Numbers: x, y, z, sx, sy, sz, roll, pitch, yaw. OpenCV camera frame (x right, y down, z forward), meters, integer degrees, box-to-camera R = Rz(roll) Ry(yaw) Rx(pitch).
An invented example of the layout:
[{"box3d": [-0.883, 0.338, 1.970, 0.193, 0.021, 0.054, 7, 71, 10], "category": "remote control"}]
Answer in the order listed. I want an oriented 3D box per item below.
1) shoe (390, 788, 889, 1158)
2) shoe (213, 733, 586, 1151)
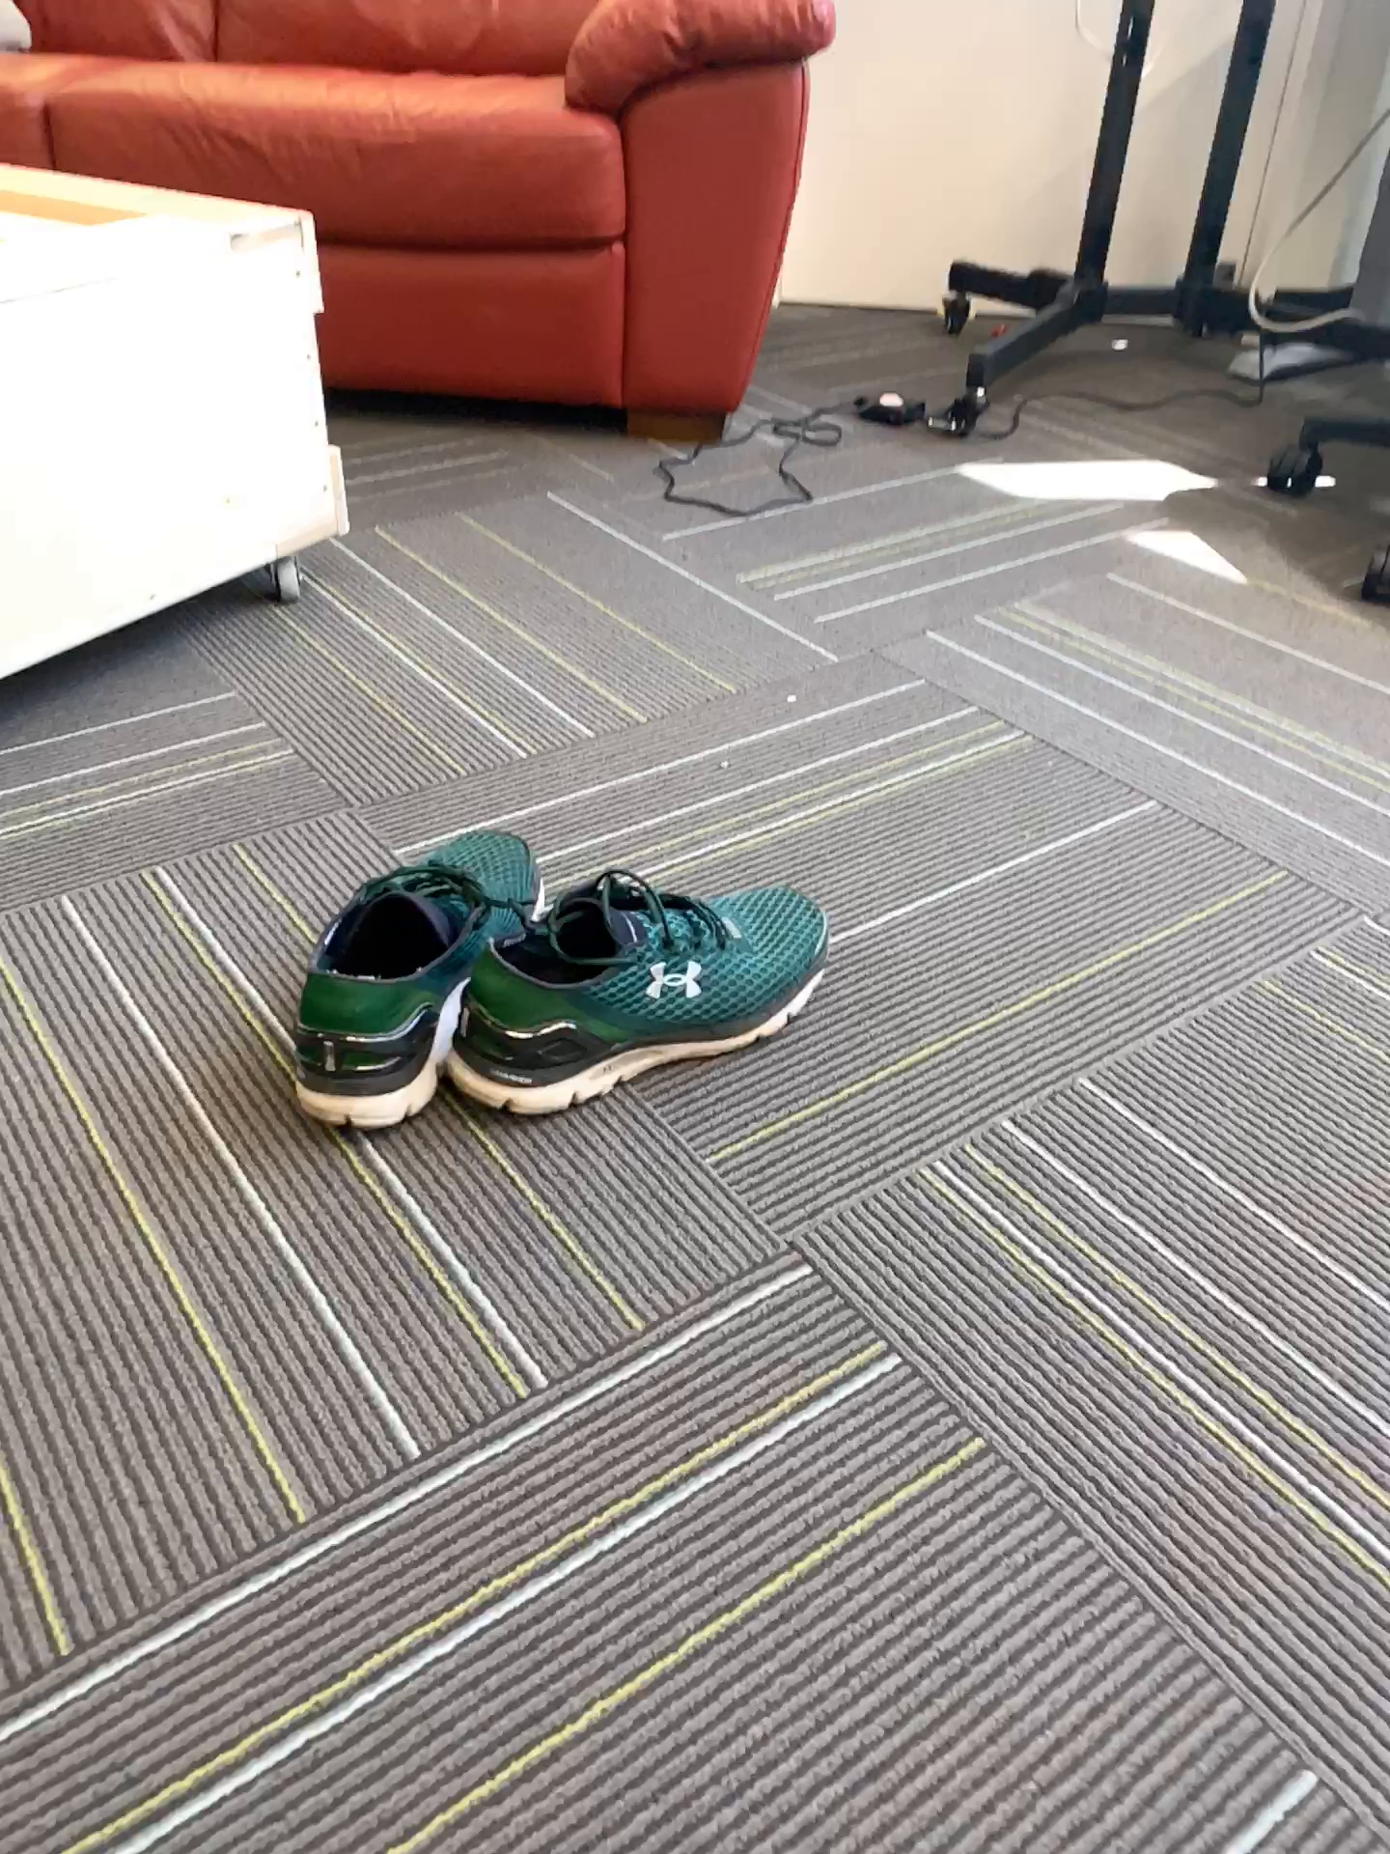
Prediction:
[{"box3d": [-0.034, 0.022, 0.970, 0.310, 0.119, 0.121, -19, 41, -26], "category": "shoe"}, {"box3d": [-0.184, -0.005, 0.973, 0.120, 0.109, 0.312, 11, 37, 12], "category": "shoe"}]
